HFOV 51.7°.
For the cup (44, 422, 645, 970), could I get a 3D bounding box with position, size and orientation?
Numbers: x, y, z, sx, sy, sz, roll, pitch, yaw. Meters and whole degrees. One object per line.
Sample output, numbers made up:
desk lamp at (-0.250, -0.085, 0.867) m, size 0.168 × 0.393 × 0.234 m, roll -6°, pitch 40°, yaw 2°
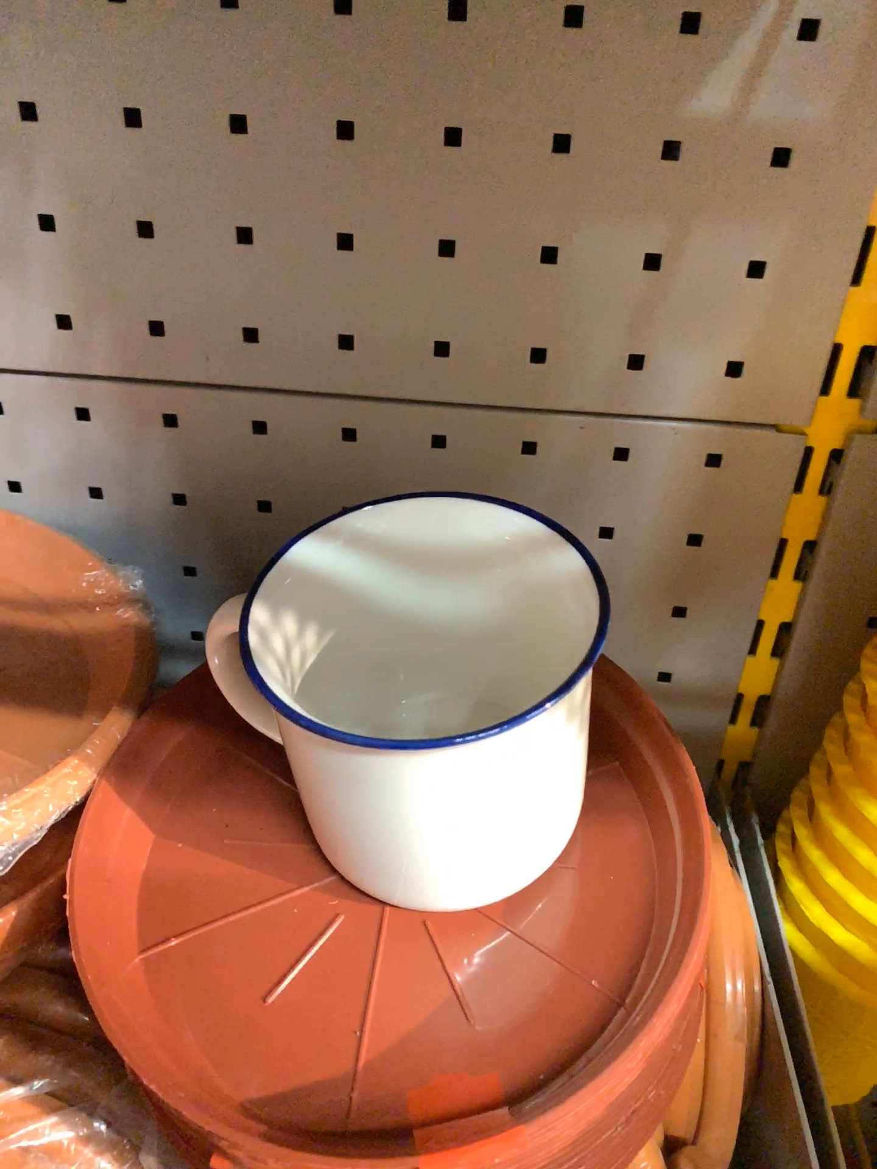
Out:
cup at (-0.016, 0.027, 0.249) m, size 0.120 × 0.090 × 0.090 m, roll 11°, pitch 46°, yaw 14°
